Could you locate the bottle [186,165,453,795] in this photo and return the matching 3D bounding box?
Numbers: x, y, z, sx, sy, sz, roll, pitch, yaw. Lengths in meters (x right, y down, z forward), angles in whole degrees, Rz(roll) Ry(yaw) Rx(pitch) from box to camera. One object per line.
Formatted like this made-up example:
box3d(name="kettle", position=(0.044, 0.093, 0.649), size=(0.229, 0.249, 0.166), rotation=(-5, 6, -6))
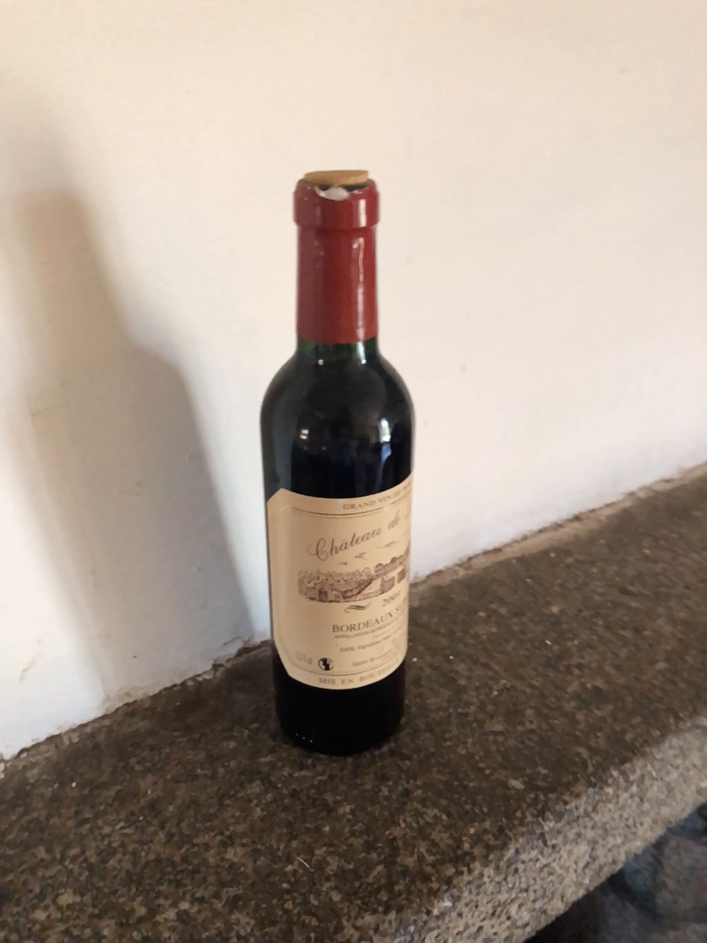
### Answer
box3d(name="bottle", position=(-0.008, 0.009, 0.303), size=(0.060, 0.229, 0.060), rotation=(-1, 28, 1))
